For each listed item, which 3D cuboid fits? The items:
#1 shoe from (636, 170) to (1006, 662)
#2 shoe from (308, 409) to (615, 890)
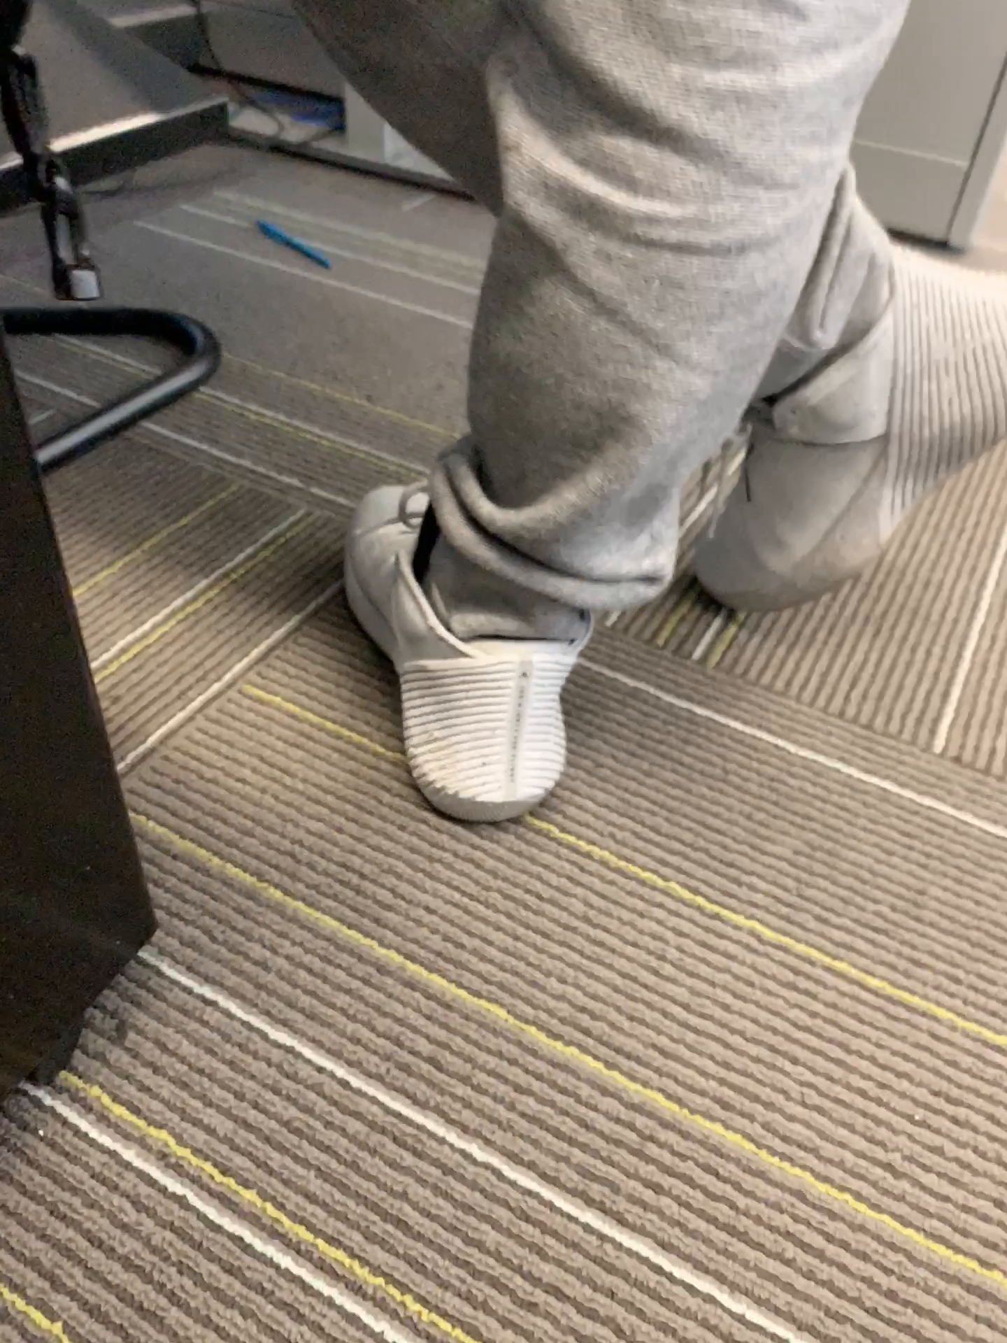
[{"bbox_3d":[0.212,-0.141,0.662,0.120,0.279,0.121,22,55,-14],"label":"shoe"},{"bbox_3d":[-0.043,-0.029,0.666,0.130,0.149,0.281,-6,43,-12],"label":"shoe"}]
